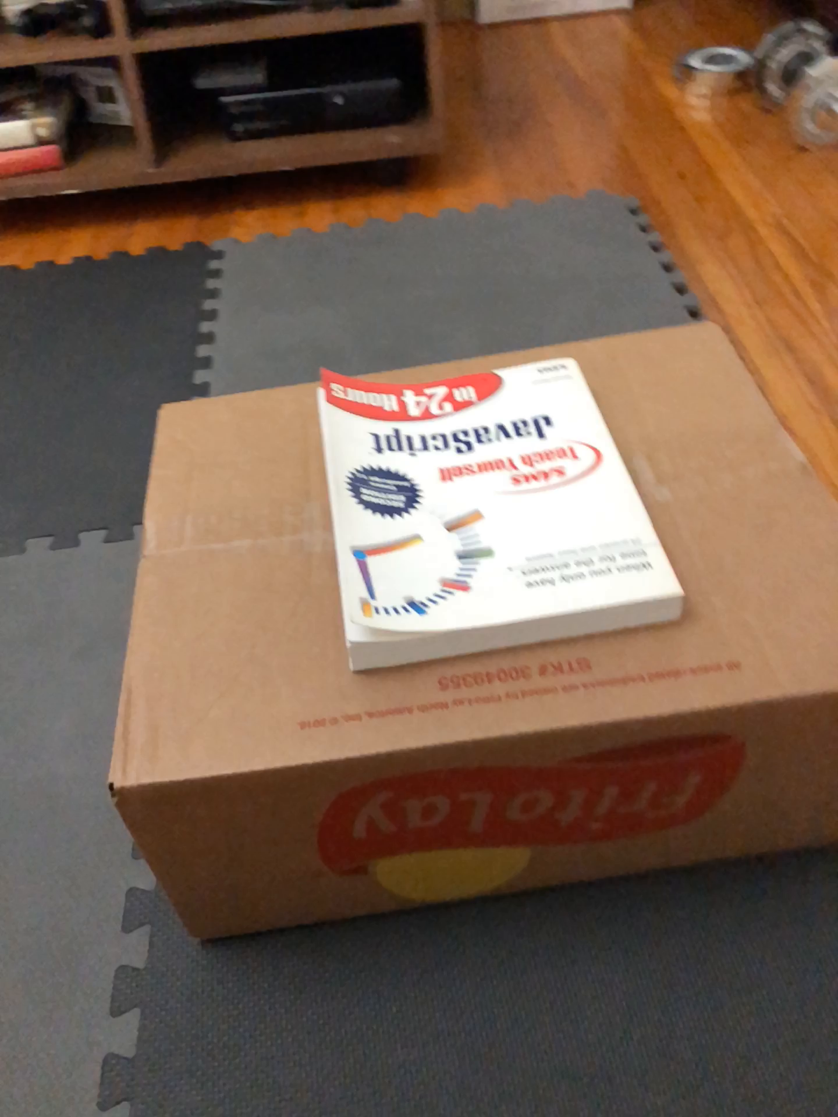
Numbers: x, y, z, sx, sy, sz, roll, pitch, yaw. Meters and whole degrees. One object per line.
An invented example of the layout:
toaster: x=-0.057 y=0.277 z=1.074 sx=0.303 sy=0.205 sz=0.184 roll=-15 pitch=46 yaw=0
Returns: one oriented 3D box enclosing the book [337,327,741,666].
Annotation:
book: x=0.060 y=-0.053 z=0.590 sx=0.200 sy=0.030 sz=0.241 roll=-10 pitch=47 yaw=-2
